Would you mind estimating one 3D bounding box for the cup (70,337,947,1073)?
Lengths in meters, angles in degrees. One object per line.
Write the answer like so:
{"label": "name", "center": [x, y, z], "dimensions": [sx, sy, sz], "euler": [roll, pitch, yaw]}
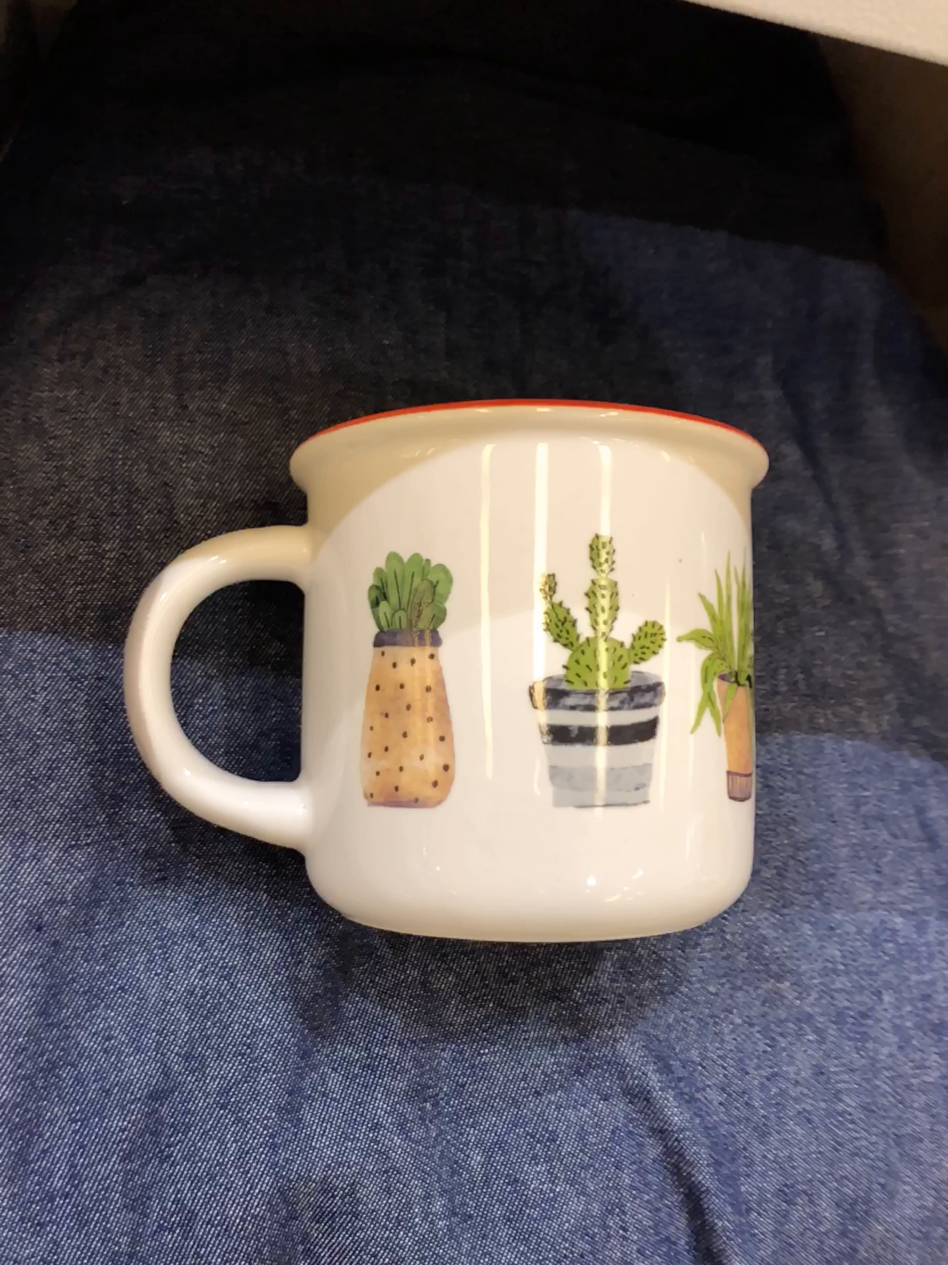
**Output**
{"label": "cup", "center": [0.003, 0.016, 0.205], "dimensions": [0.140, 0.090, 0.100], "euler": [1, 80, -15]}
